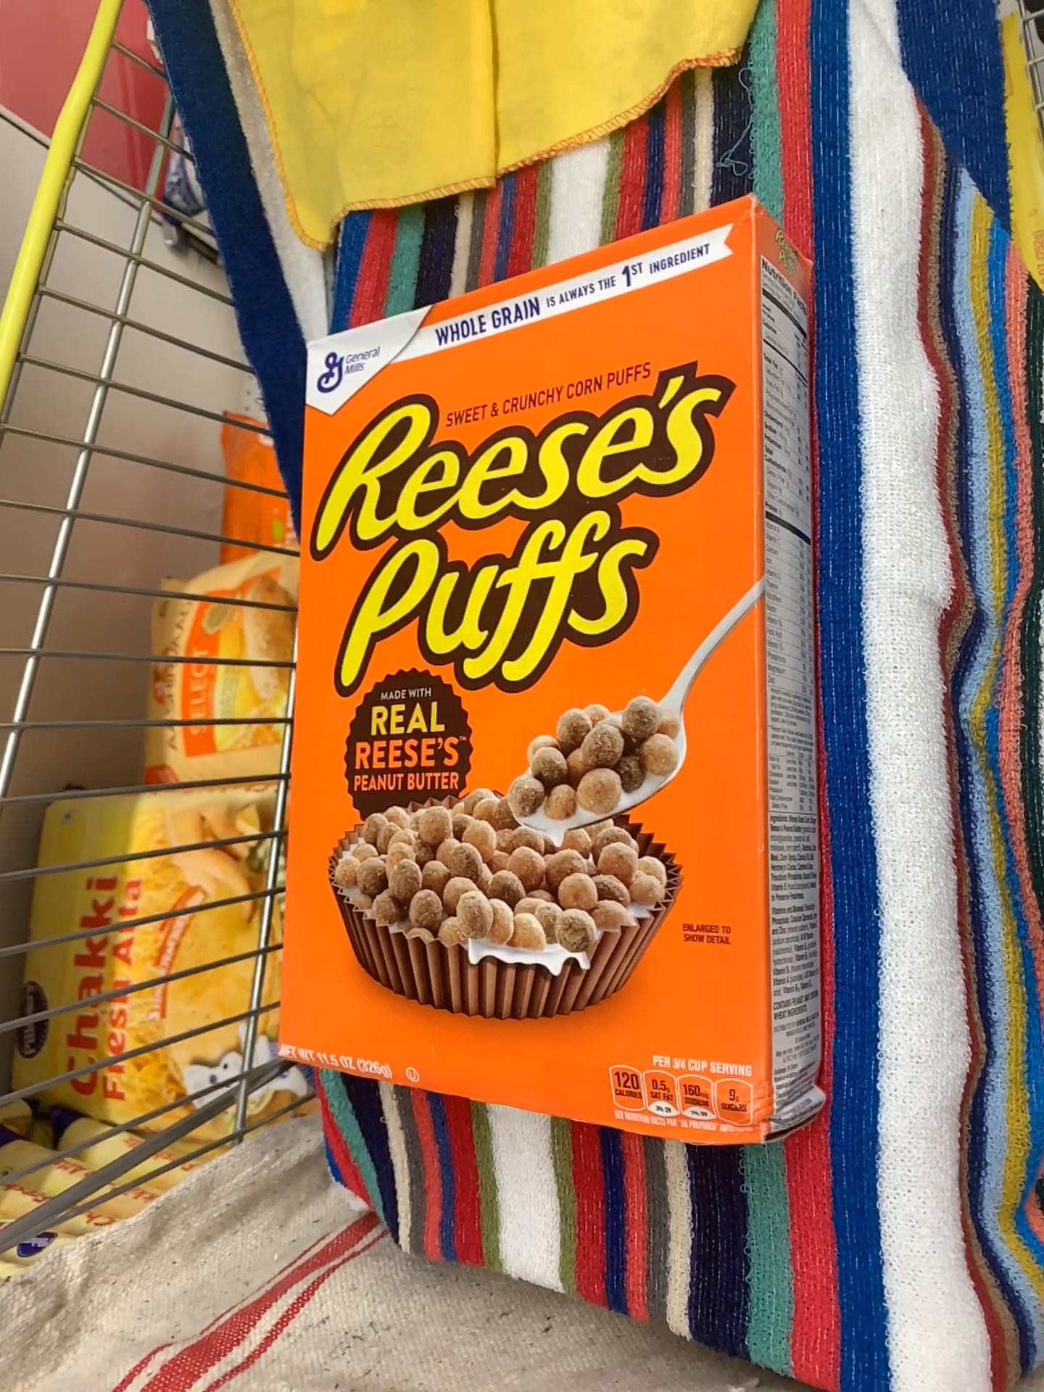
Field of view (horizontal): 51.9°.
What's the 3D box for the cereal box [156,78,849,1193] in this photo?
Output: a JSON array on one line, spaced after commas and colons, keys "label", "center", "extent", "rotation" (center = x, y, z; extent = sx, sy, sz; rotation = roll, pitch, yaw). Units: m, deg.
[{"label": "cereal box", "center": [-0.013, -0.012, 0.337], "extent": [0.201, 0.080, 0.260], "rotation": [-3, 83, 35]}]
